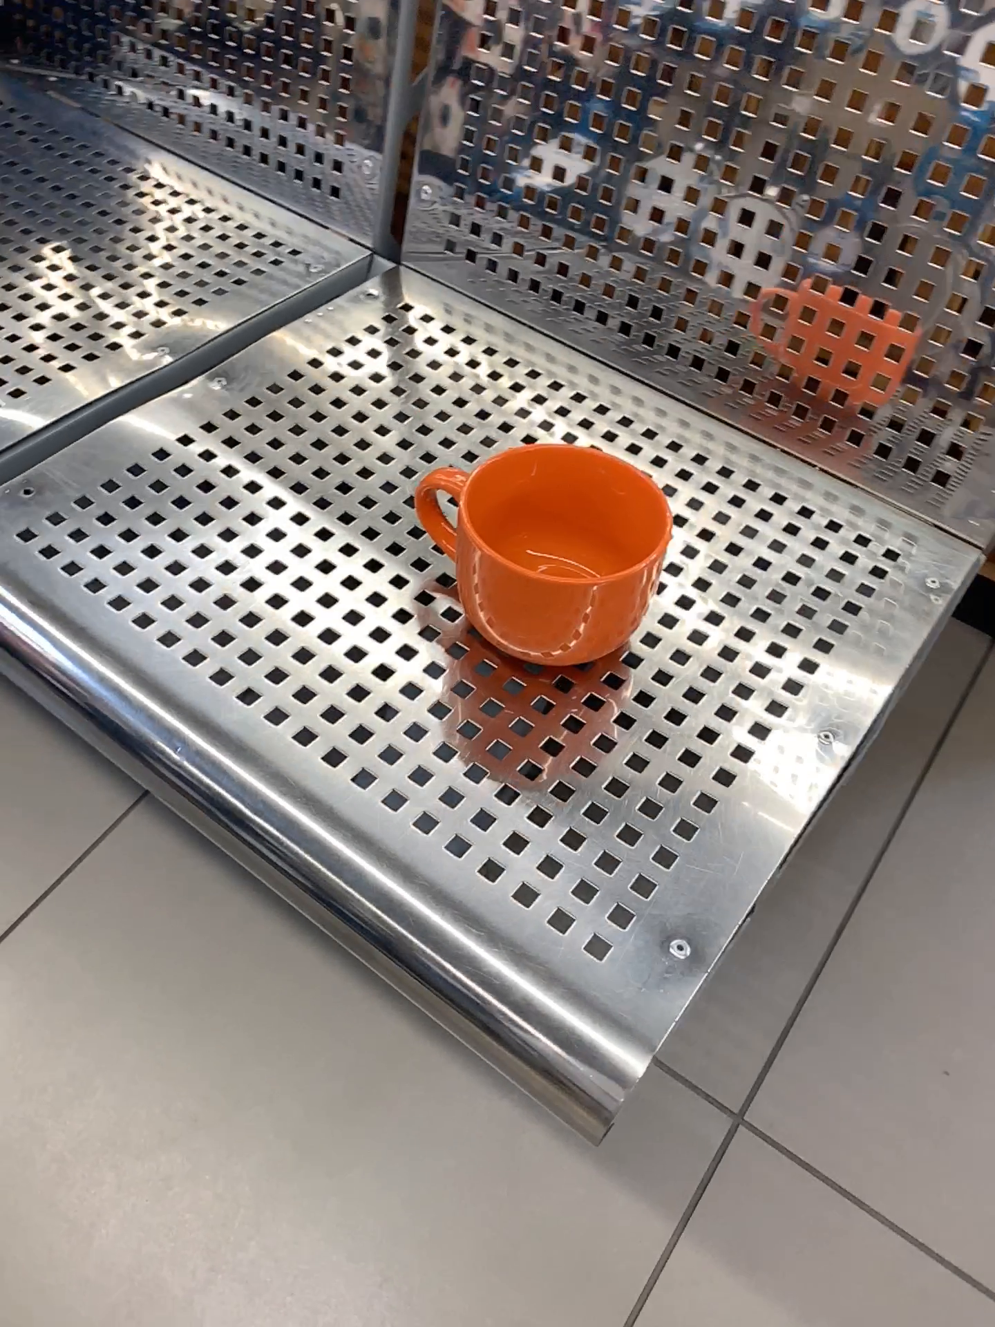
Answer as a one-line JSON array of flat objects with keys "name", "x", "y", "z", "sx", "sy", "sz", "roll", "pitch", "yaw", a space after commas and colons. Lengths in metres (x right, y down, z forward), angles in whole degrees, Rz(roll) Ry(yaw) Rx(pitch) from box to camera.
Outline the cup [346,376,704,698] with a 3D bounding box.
[{"name": "cup", "x": 0.012, "y": -0.074, "z": 0.552, "sx": 0.150, "sy": 0.070, "sz": 0.110, "roll": 31, "pitch": 51, "yaw": 19}]
